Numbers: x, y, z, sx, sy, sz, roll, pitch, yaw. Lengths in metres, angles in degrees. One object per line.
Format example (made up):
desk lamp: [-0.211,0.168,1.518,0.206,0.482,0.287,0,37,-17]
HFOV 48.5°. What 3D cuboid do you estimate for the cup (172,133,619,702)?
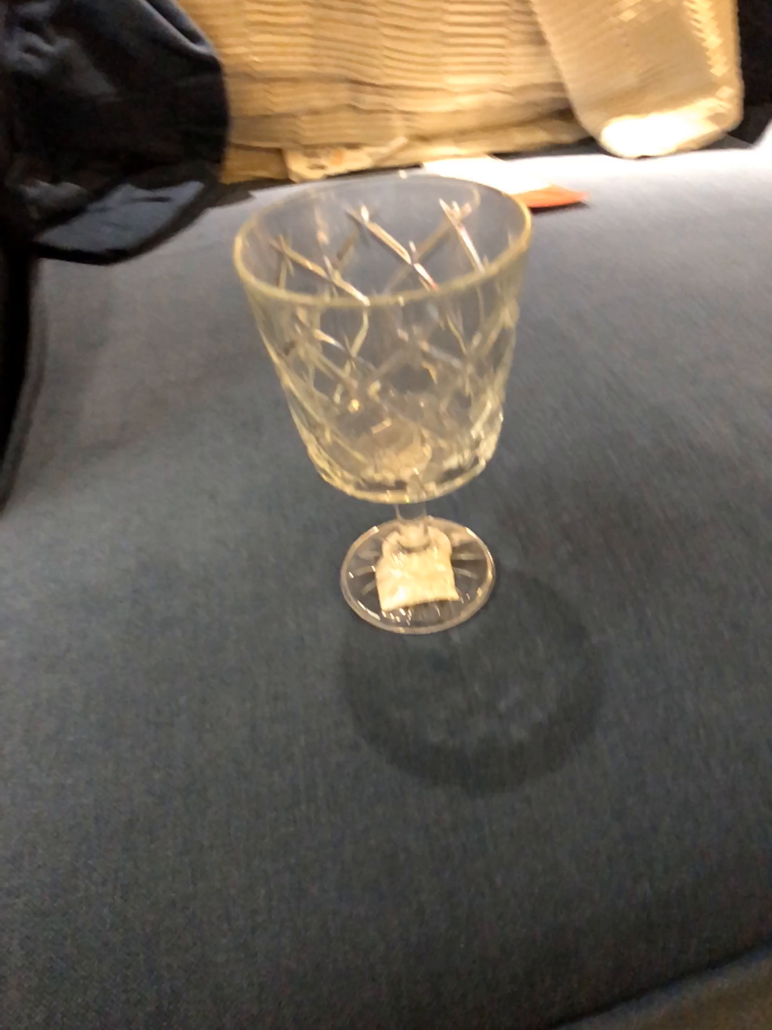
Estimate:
cup: [0.005,-0.032,0.284,0.090,0.139,0.090,-3,41,3]
